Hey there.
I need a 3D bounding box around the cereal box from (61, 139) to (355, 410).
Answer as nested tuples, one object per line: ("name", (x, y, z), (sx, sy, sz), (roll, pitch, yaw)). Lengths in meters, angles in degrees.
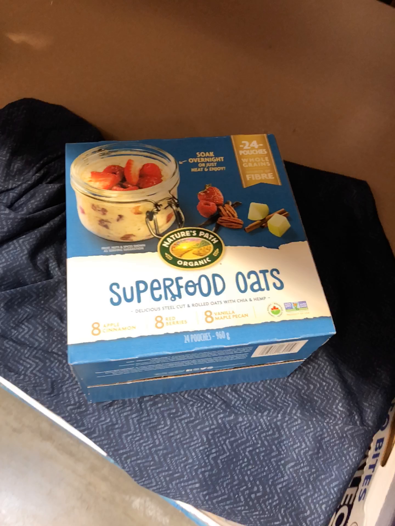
("cereal box", (-0.010, 0.008, 0.491), (0.250, 0.150, 0.241), (-5, 61, -10))
